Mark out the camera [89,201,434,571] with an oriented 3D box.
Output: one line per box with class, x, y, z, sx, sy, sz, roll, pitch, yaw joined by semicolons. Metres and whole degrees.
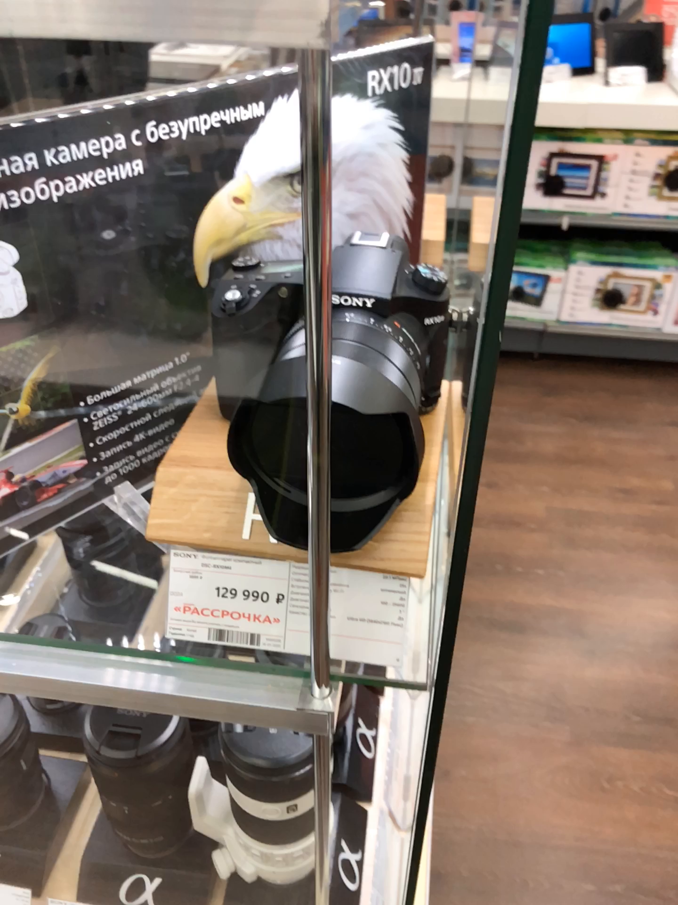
camera;-0.022;-0.045;0.381;0.126;0.099;0.179;5;37;6
